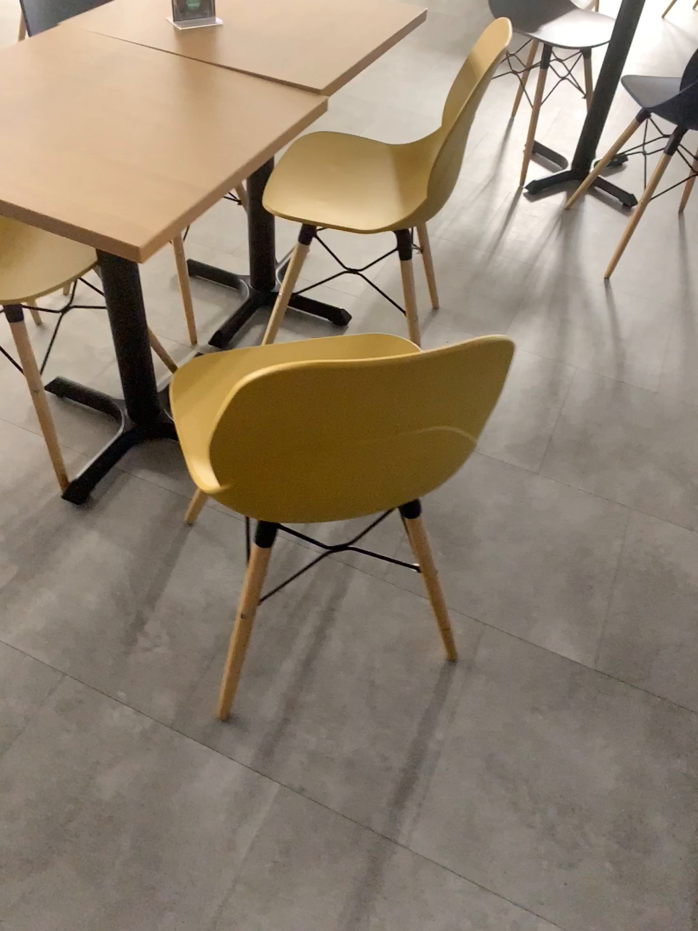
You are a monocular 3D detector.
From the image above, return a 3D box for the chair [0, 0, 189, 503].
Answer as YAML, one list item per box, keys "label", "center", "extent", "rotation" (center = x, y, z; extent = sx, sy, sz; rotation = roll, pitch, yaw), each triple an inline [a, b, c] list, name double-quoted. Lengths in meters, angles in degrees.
- label: "chair"
  center: [-0.701, -0.428, 1.408]
  extent: [0.492, 0.777, 0.501]
  rotation: [19, 49, 11]

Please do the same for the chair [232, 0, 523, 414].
- label: "chair"
  center: [0.059, -0.613, 1.657]
  extent: [0.492, 0.777, 0.501]
  rotation: [10, 48, 4]

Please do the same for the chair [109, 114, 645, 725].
- label: "chair"
  center: [-0.027, -0.045, 1.147]
  extent: [0.517, 0.786, 0.496]
  rotation: [-11, 50, -15]
